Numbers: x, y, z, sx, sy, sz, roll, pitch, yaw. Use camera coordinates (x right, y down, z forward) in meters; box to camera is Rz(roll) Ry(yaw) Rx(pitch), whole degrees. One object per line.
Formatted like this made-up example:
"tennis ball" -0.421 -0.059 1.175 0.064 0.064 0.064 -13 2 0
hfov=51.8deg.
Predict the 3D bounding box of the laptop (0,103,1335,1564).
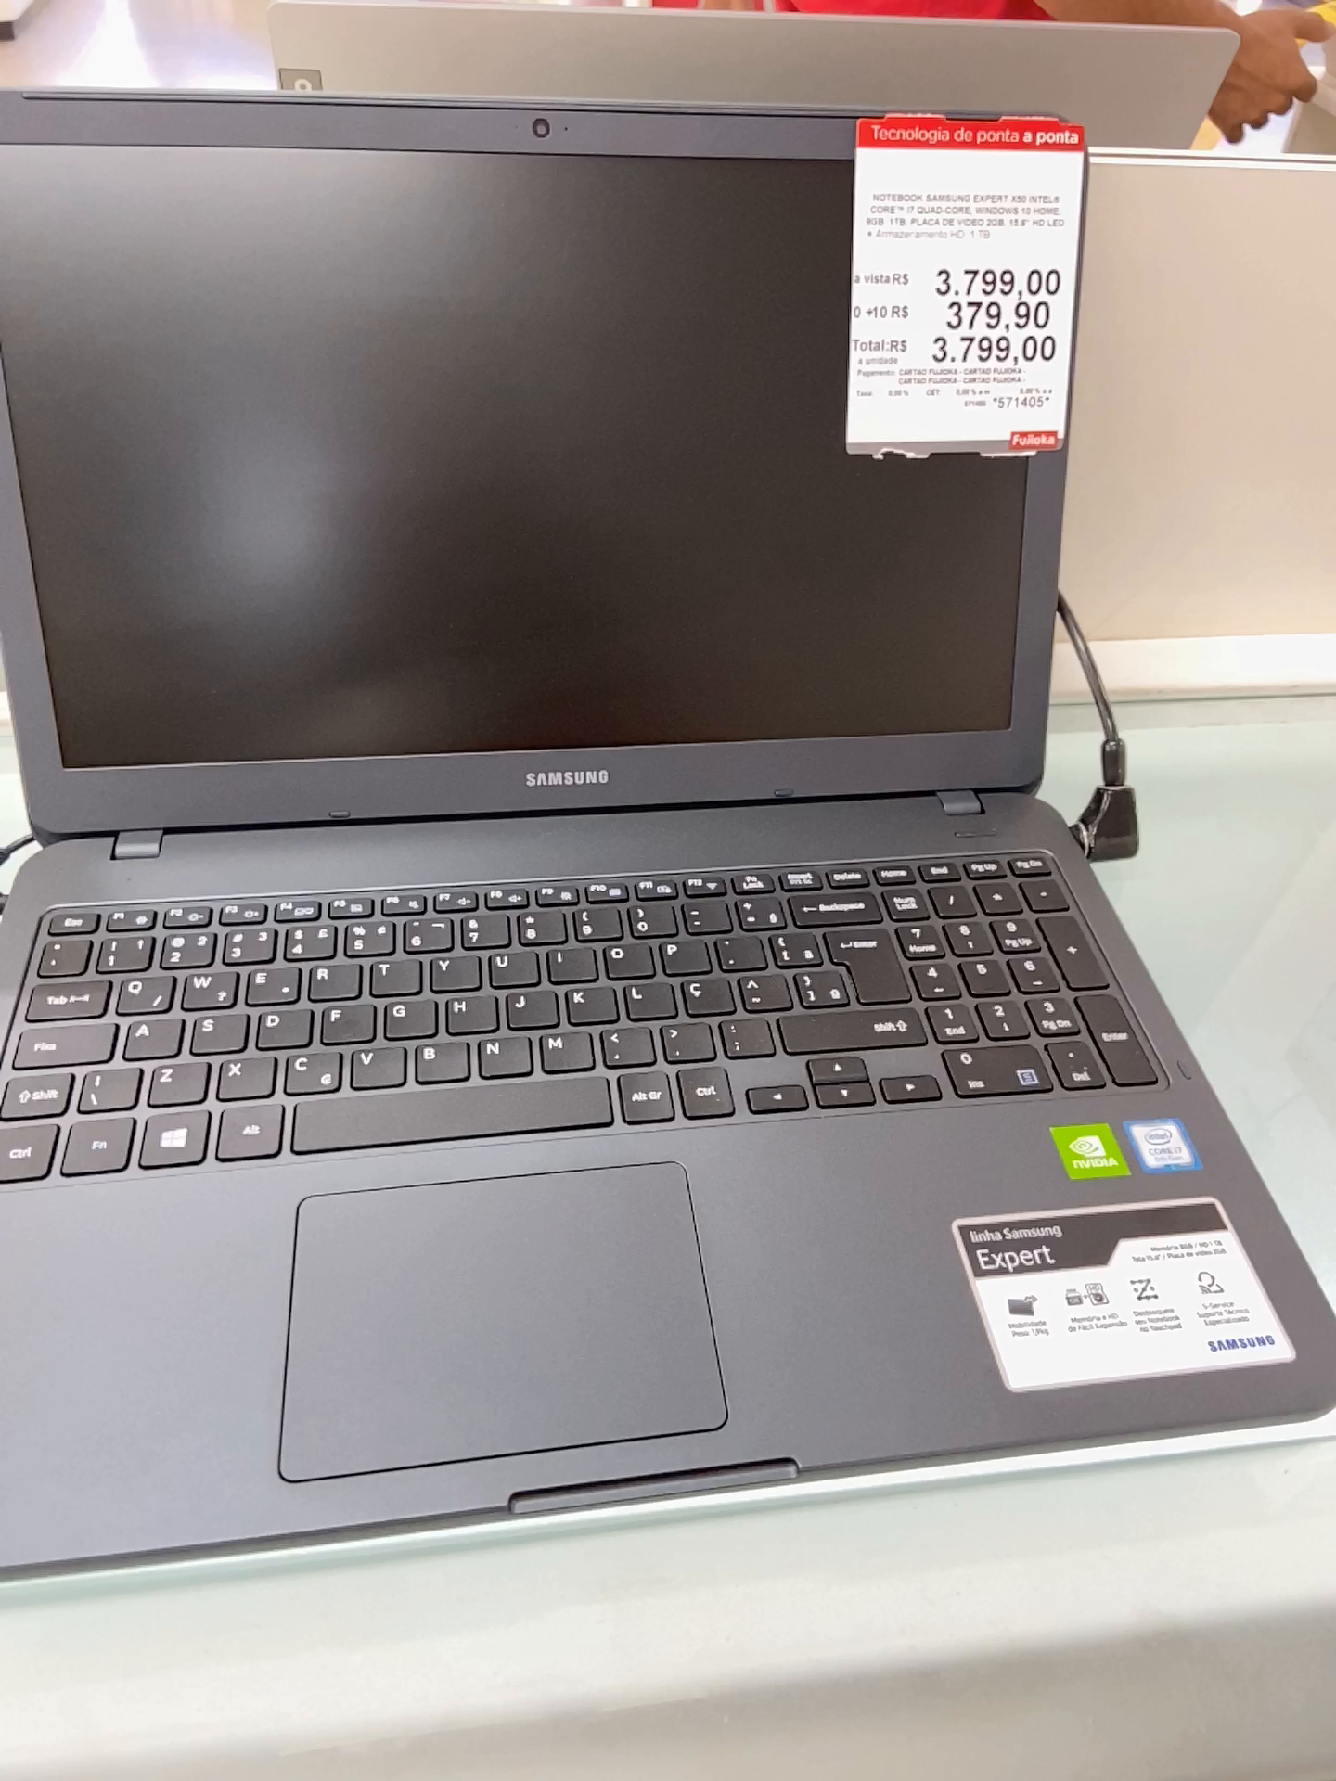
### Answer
"laptop" -0.022 -0.053 0.380 0.363 0.208 0.343 -3 43 -8
